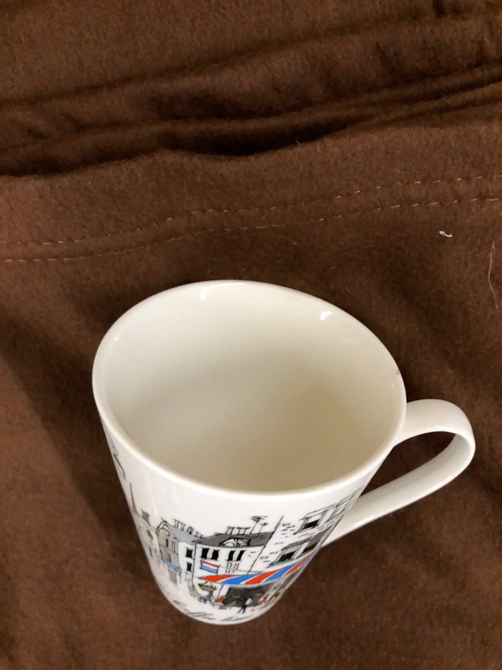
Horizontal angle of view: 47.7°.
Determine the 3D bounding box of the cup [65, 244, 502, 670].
[{"bbox_3d":[0.010,0.045,0.190,0.110,0.080,0.110,2,128,3],"label":"cup"}]
